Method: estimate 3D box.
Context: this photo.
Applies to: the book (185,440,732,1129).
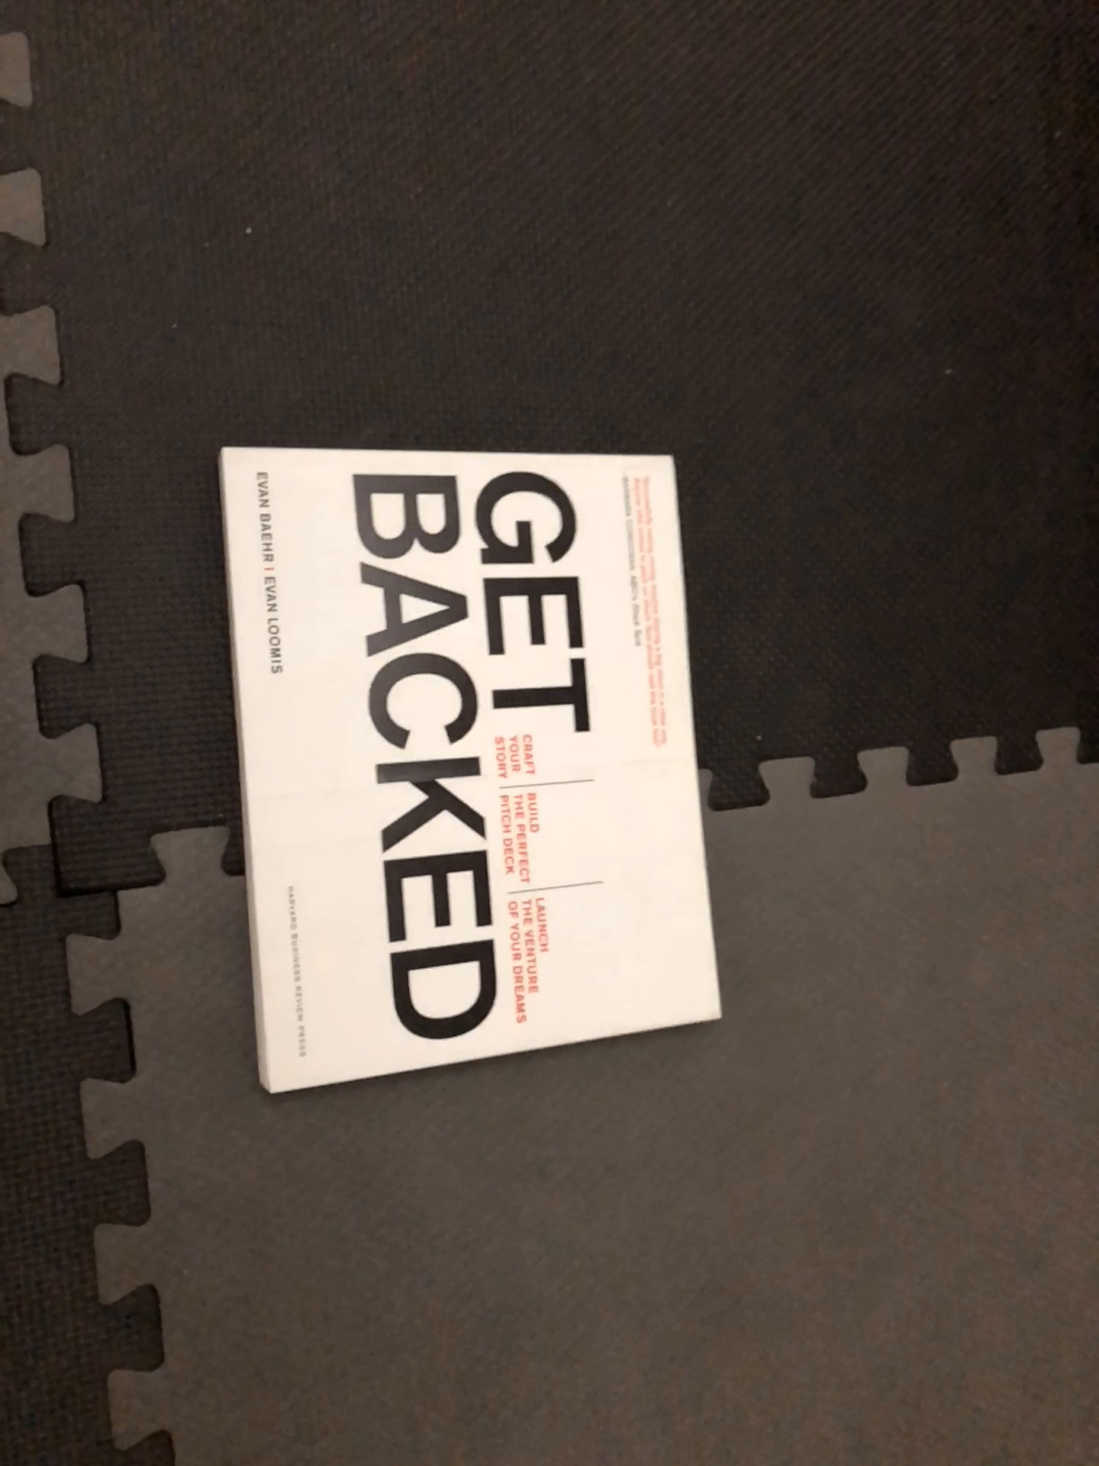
[{"bbox_3d":[-0.033,0.013,0.503,0.210,0.020,0.260,-4,88,-20],"label":"book"}]
